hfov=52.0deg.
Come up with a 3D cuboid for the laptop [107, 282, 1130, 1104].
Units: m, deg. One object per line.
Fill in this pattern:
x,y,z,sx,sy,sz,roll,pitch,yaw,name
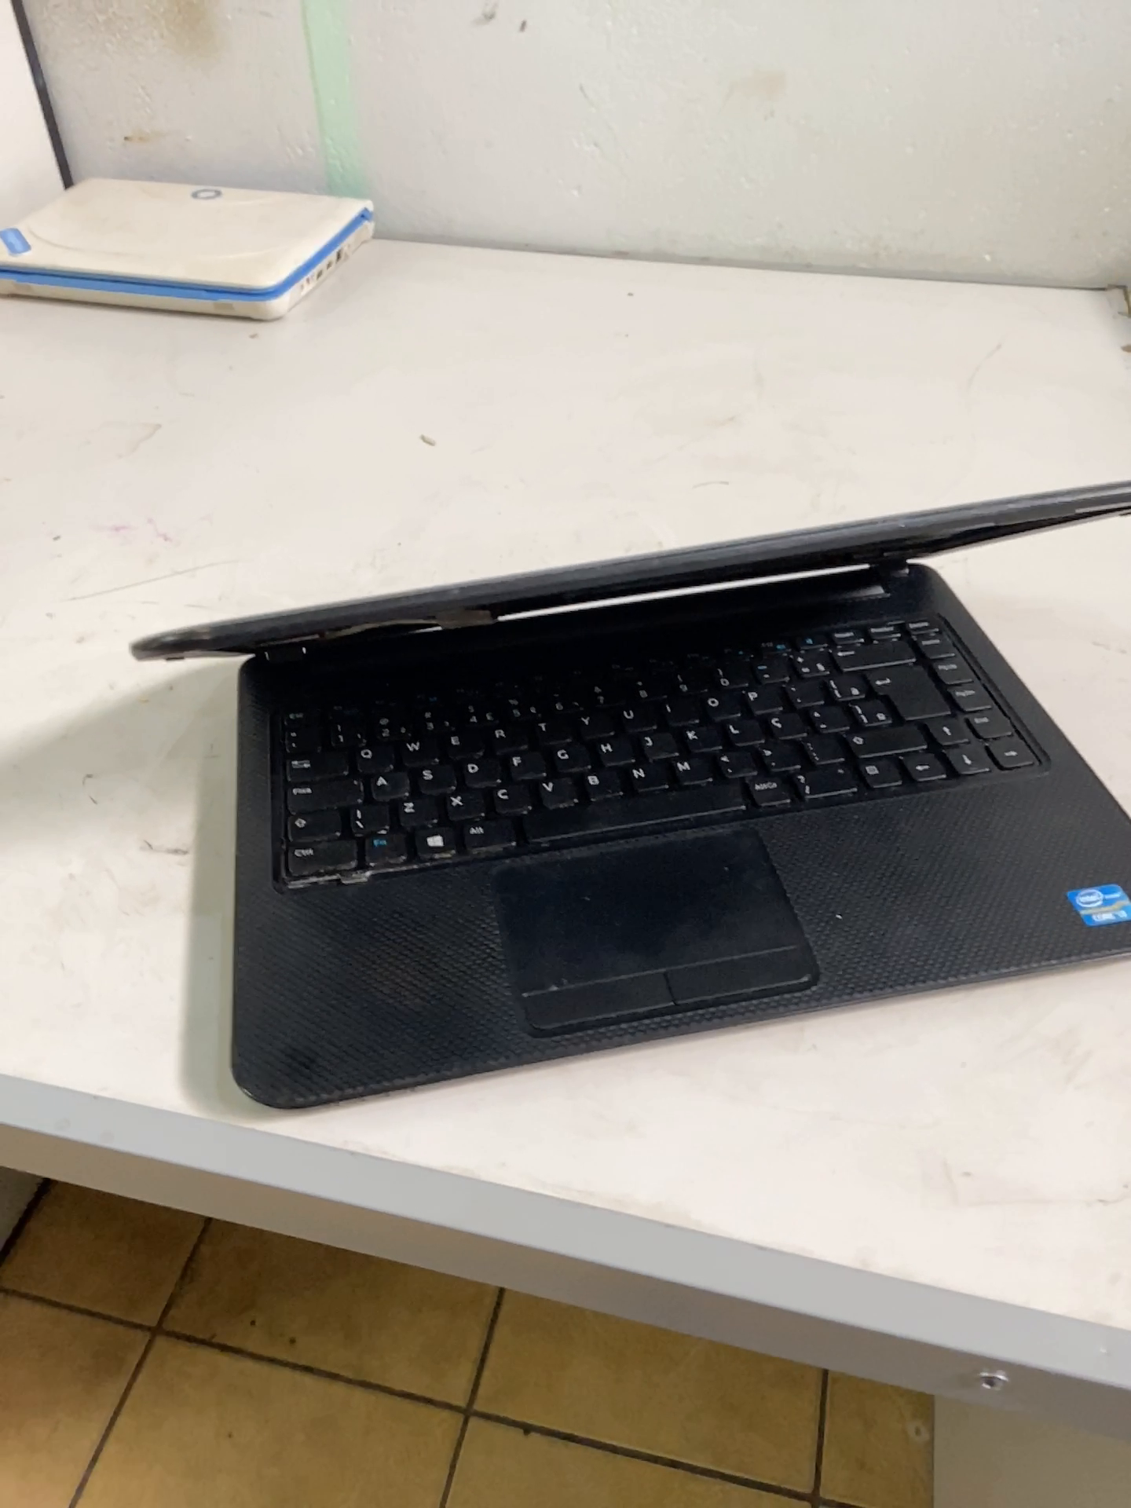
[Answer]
0.034,-0.043,0.423,0.330,0.141,0.231,-9,43,-8,laptop
